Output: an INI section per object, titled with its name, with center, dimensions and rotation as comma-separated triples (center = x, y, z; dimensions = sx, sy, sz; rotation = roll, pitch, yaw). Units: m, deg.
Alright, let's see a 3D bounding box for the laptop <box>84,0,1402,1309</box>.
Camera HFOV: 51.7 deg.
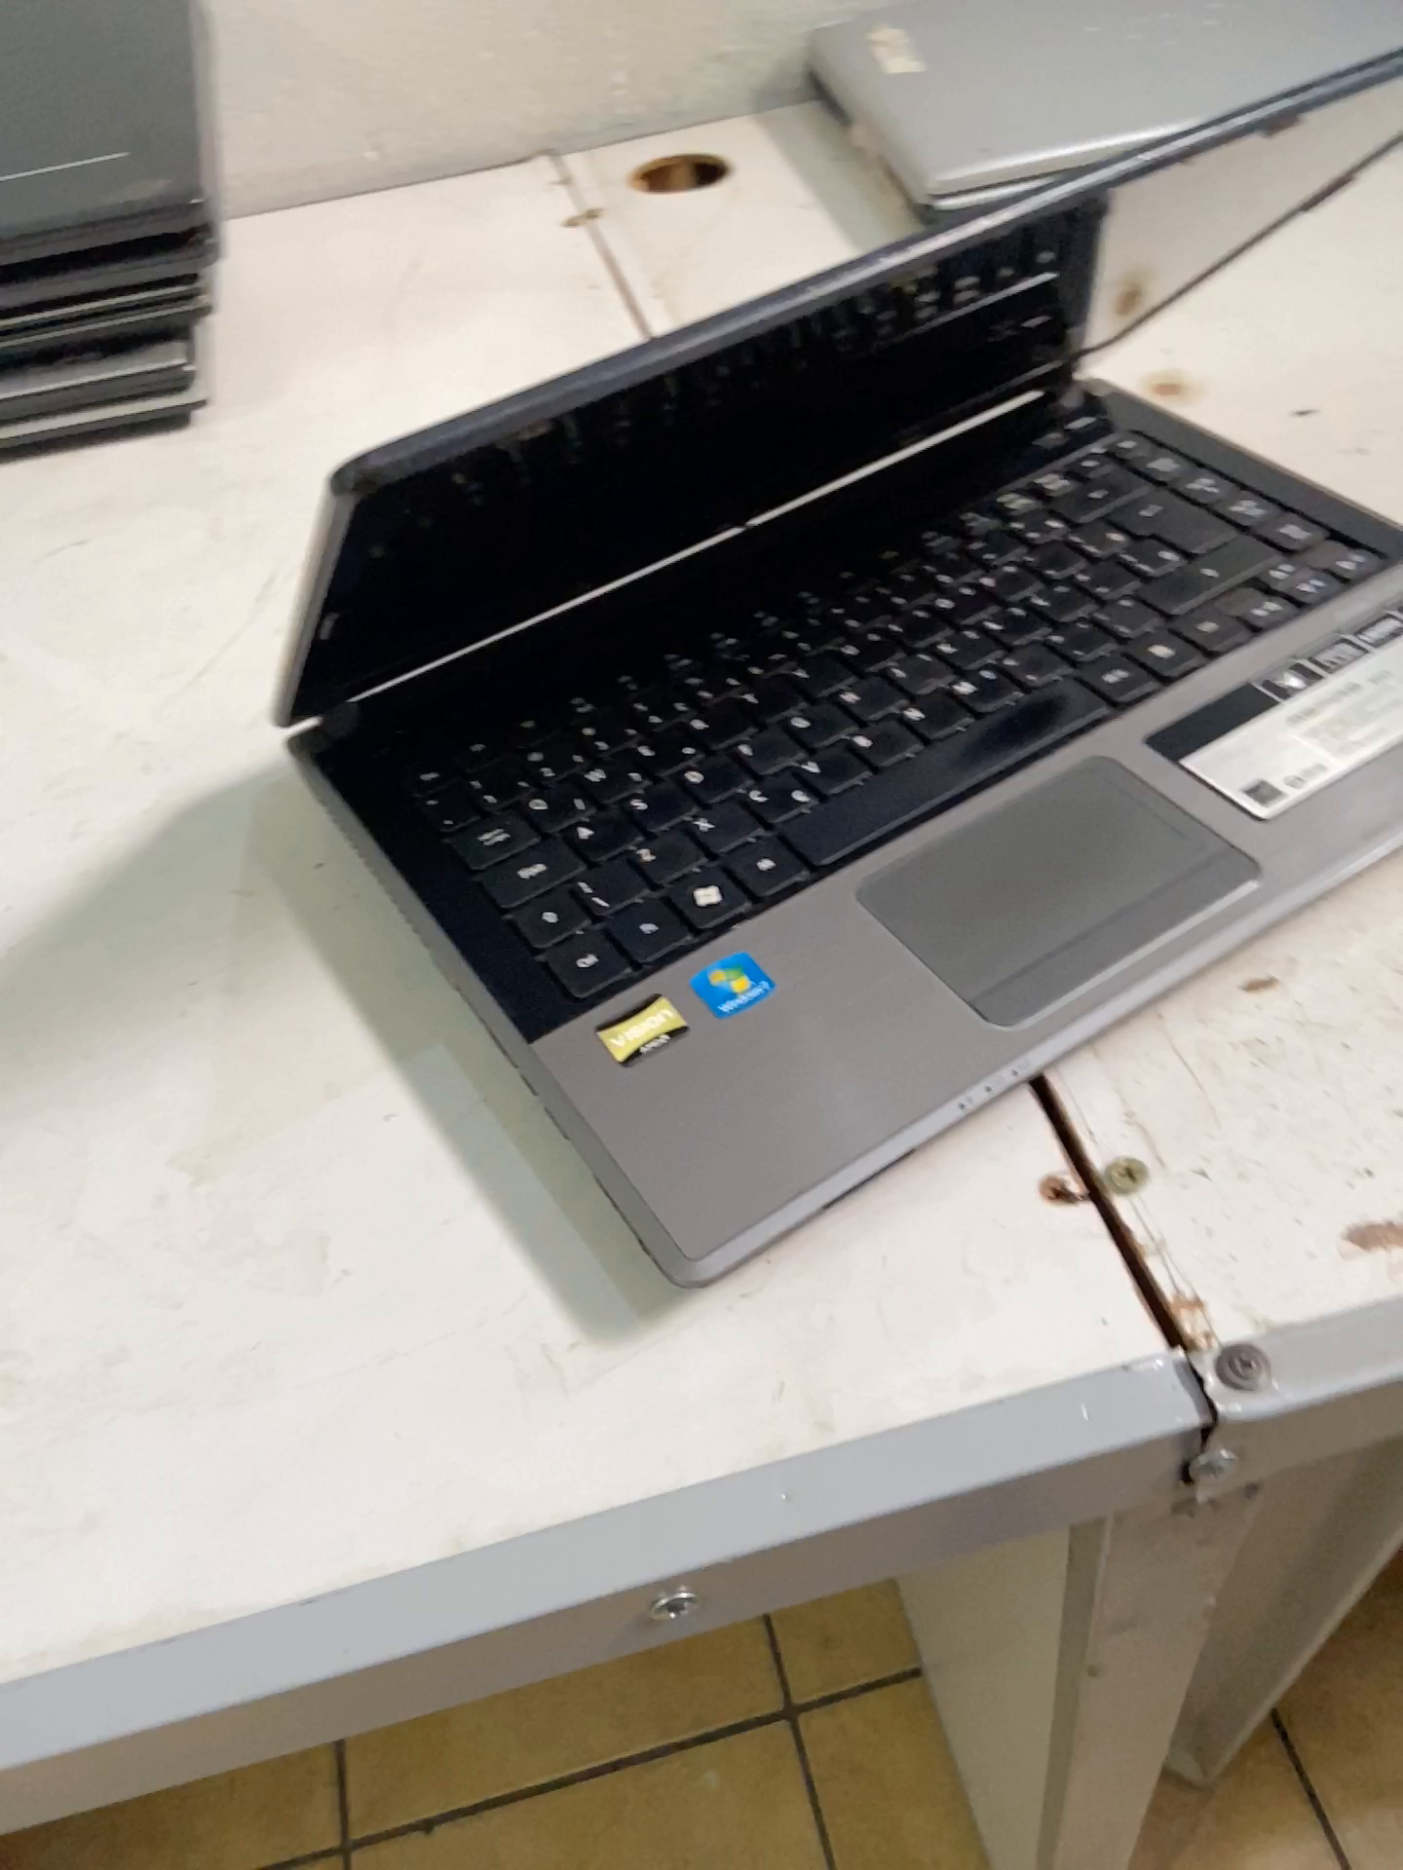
[laptop]
center = 0.064, -0.117, 0.377
dimensions = 0.335, 0.157, 0.226
rotation = -29, 50, -19
